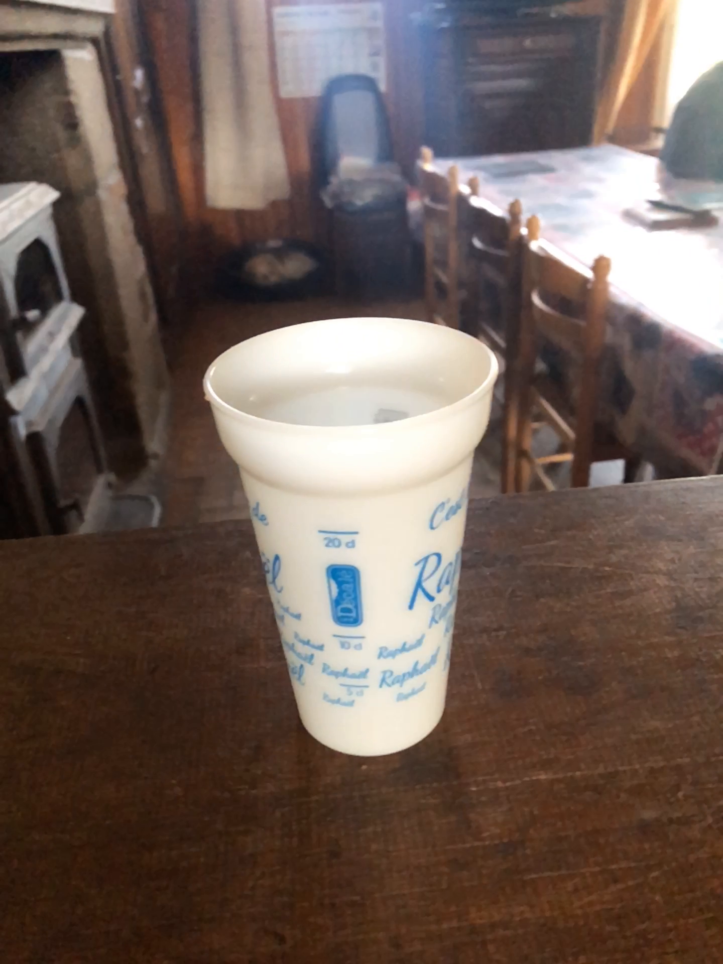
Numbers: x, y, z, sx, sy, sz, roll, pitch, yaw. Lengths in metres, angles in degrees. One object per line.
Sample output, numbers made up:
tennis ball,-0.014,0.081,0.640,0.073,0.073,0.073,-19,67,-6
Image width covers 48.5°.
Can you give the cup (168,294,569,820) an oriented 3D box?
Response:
cup,0.009,0.017,0.243,0.080,0.119,0.081,-3,29,2
